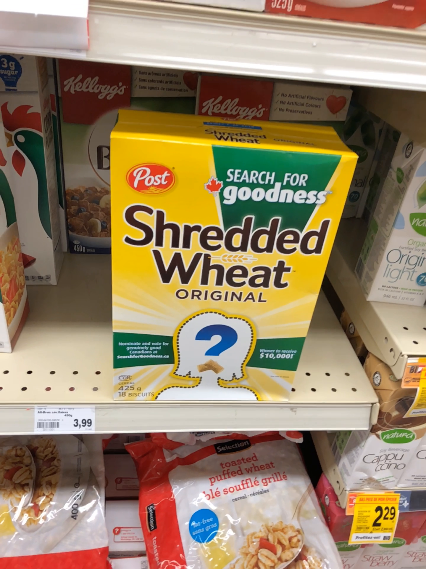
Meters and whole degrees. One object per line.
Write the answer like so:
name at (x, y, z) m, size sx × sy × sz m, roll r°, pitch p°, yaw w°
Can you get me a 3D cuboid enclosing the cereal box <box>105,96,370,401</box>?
cereal box at (0.004, -0.017, 0.462) m, size 0.200 × 0.288 × 0.081 m, roll 2°, pitch 34°, yaw -8°
